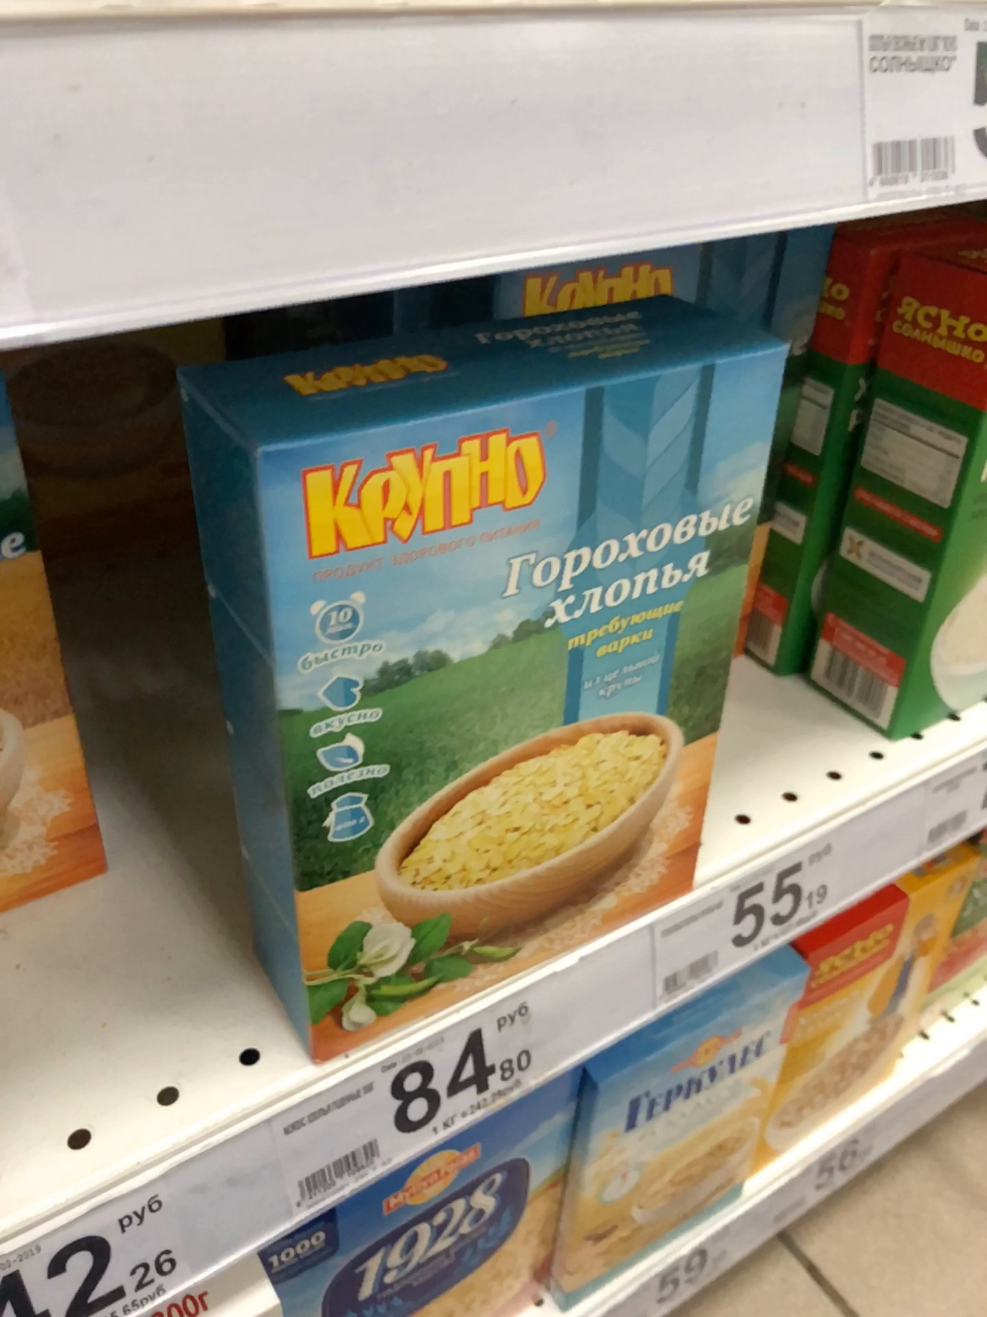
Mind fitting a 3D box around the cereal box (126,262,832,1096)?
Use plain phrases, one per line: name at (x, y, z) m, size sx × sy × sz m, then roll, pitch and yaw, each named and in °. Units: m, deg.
cereal box at (0.000, 0.006, 0.309) m, size 0.160 × 0.199 × 0.050 m, roll -18°, pitch 38°, yaw -27°
